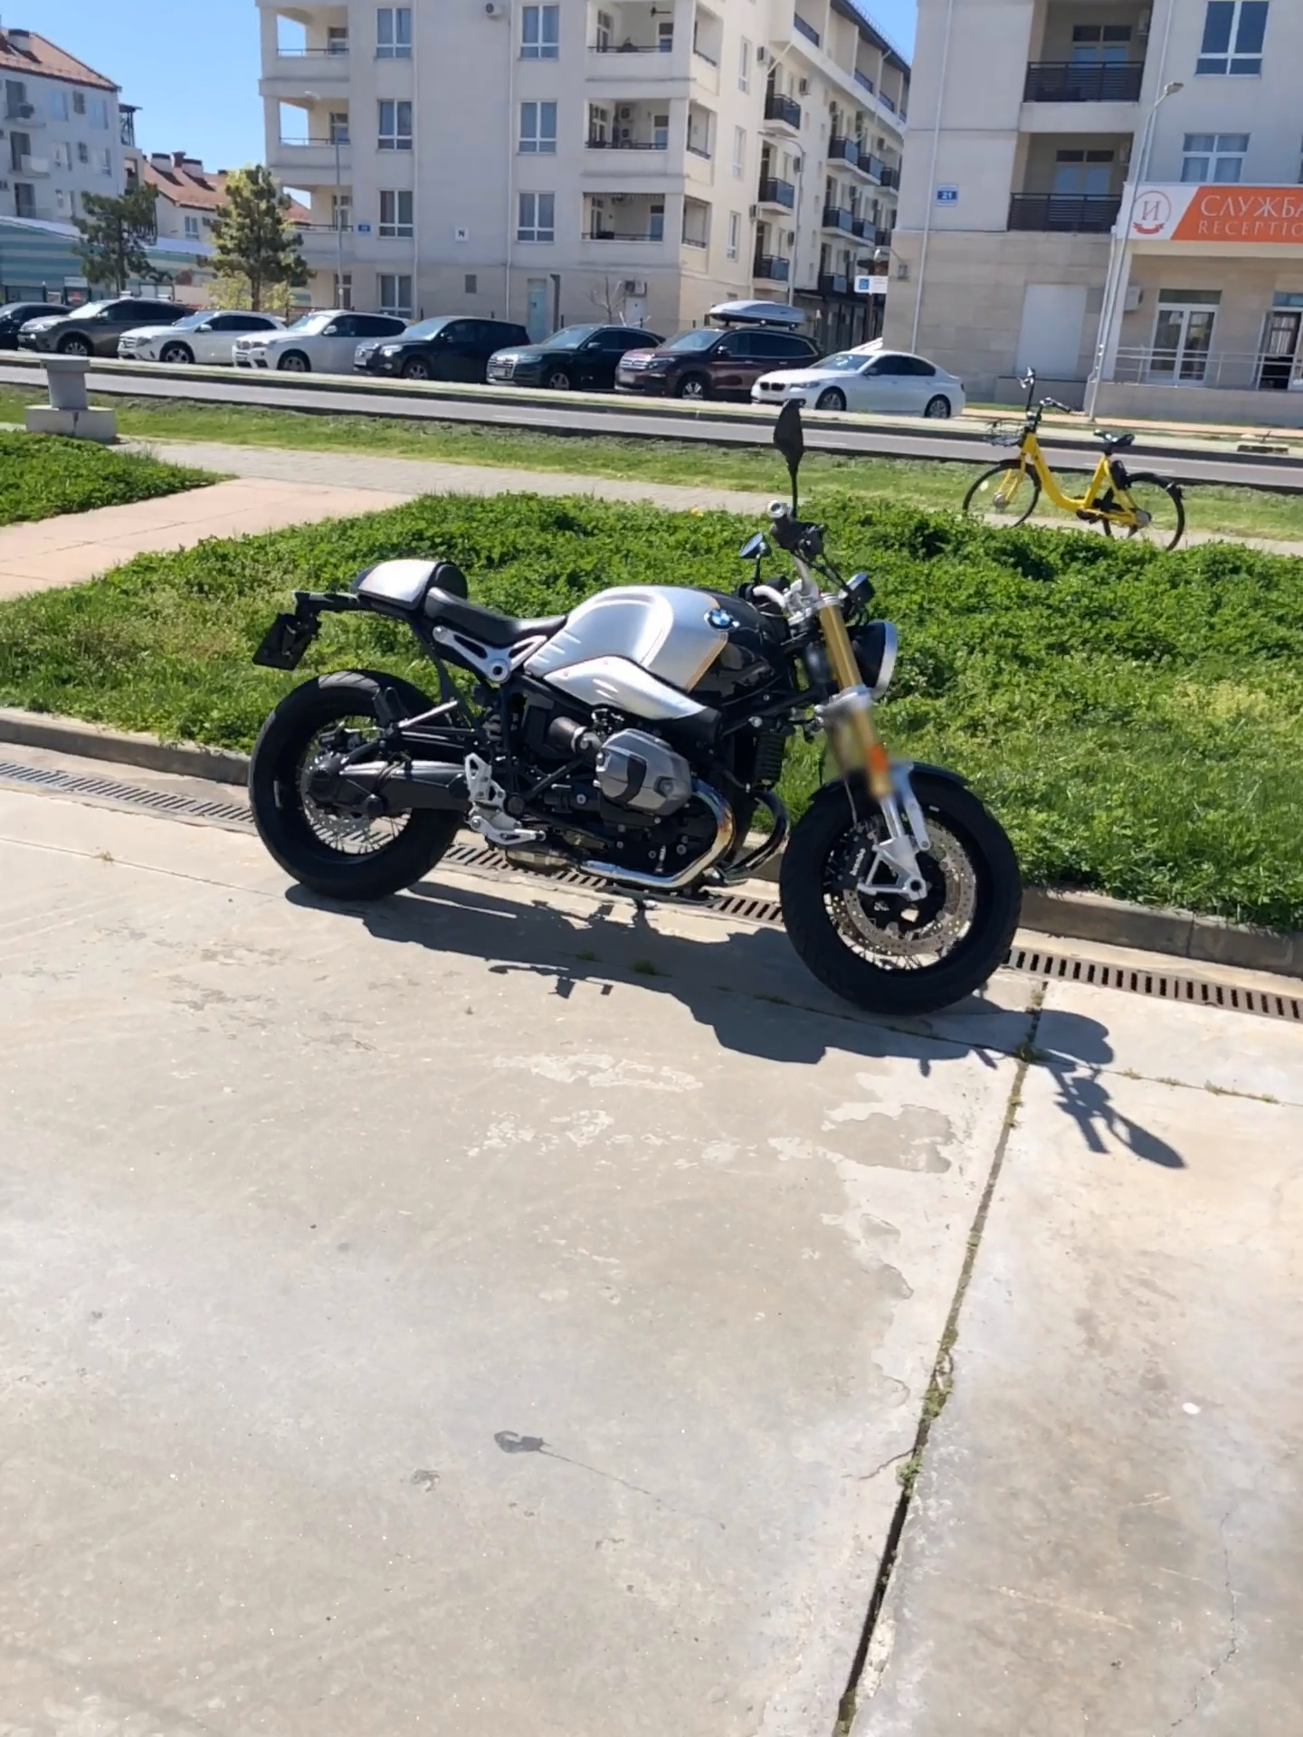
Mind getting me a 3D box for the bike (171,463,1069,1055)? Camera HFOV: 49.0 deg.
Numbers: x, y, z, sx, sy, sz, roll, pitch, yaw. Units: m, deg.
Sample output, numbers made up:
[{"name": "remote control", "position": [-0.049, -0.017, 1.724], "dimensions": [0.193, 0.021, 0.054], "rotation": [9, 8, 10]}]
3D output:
[{"name": "bike", "position": [-0.116, -0.350, 3.650], "dimensions": [2.068, 1.122, 0.650], "rotation": [8, 20, 12]}]
